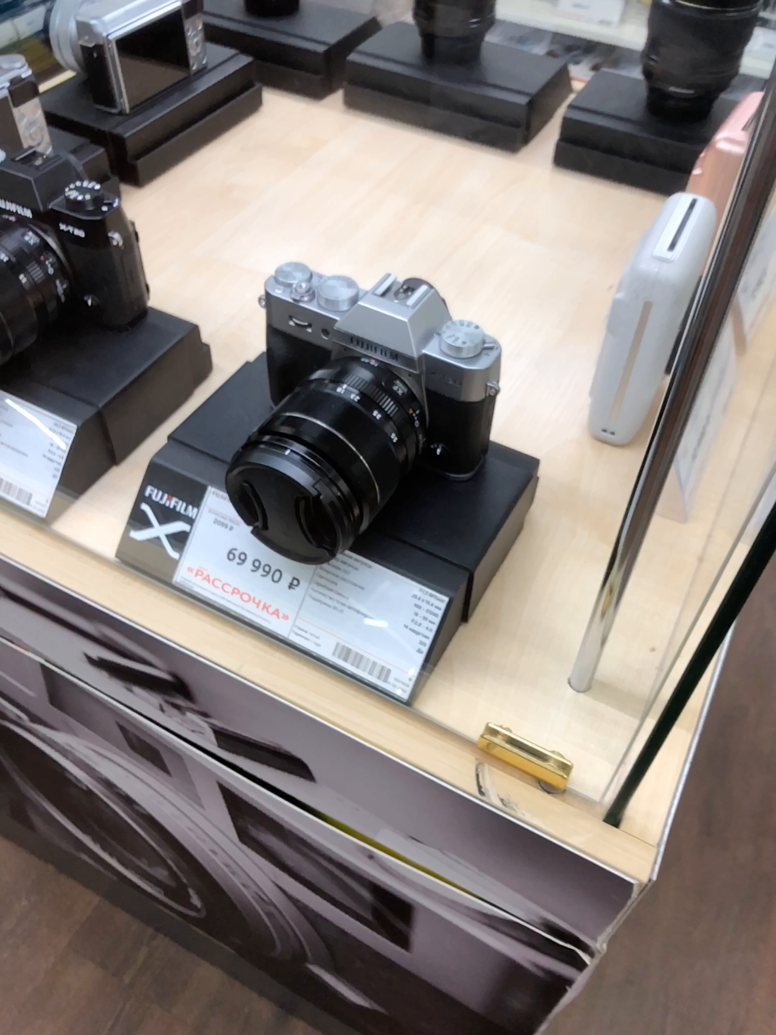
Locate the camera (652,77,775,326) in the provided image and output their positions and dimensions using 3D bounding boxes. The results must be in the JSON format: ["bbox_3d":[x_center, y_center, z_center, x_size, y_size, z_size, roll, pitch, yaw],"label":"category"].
[{"bbox_3d":[0.229,-0.207,0.568,0.043,0.118,0.101,27,53,20],"label":"camera"}]

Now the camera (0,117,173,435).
[{"bbox_3d":[-0.212,-0.134,0.463,0.123,0.080,0.131,26,52,18],"label":"camera"}]

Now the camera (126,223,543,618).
[{"bbox_3d":[-0.020,-0.050,0.392,0.123,0.080,0.131,26,52,18],"label":"camera"}]

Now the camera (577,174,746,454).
[{"bbox_3d":[0.147,-0.110,0.471,0.039,0.110,0.094,22,51,15],"label":"camera"}]
